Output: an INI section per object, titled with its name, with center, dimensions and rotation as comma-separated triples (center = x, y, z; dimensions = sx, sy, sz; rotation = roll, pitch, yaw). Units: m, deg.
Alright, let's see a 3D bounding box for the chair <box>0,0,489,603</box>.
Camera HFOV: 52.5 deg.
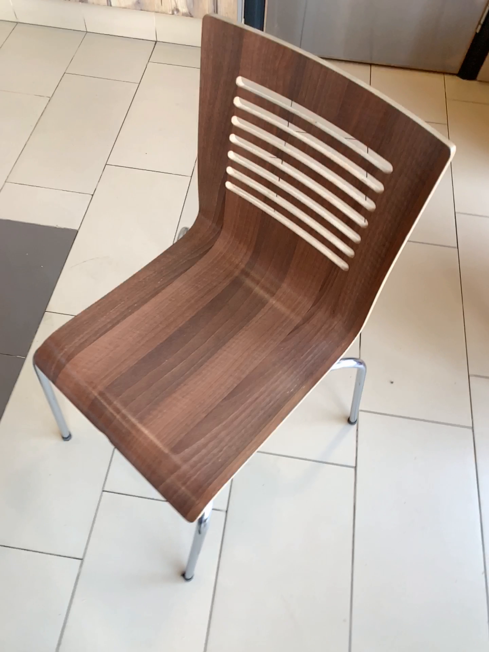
[chair]
center = -0.062, 0.029, 0.885
dimensions = 0.545, 0.795, 0.592
rotation = 41, 66, 18
